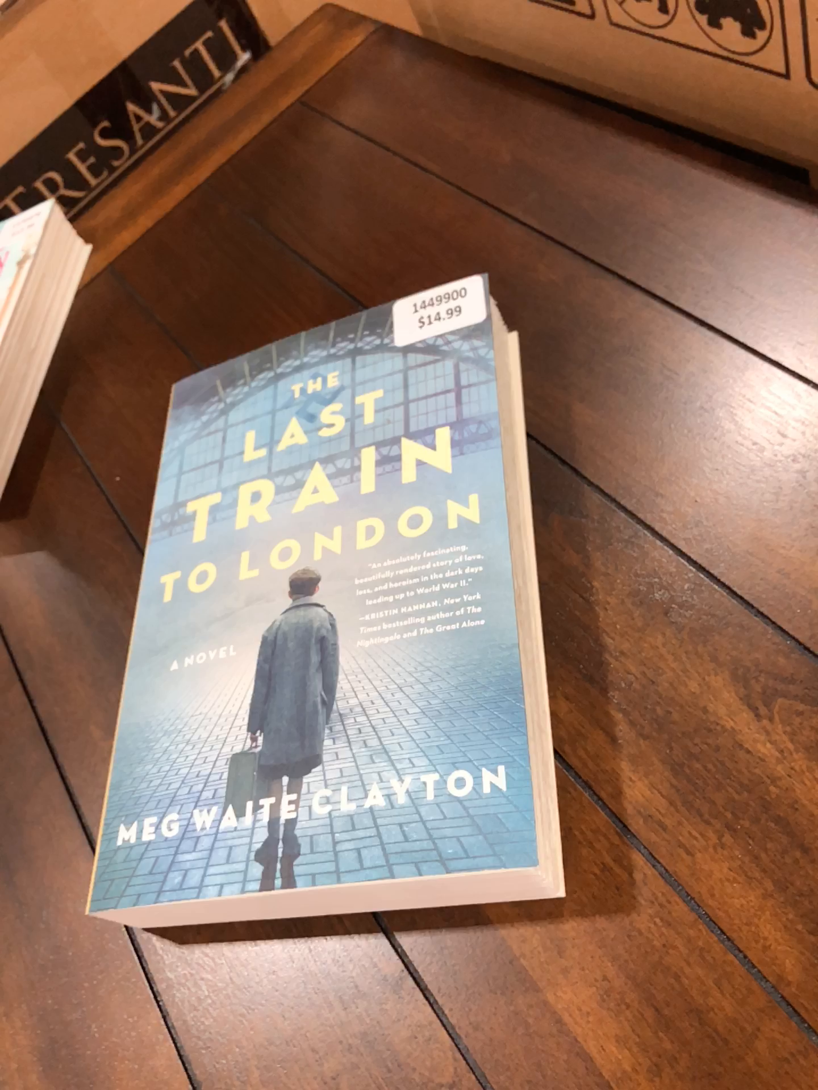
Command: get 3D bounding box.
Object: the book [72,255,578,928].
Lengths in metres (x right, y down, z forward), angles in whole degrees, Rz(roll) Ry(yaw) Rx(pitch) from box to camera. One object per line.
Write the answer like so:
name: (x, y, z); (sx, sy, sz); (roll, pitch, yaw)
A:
book: (-0.029, 0.013, 0.329); (0.151, 0.041, 0.220); (-14, 57, 22)
